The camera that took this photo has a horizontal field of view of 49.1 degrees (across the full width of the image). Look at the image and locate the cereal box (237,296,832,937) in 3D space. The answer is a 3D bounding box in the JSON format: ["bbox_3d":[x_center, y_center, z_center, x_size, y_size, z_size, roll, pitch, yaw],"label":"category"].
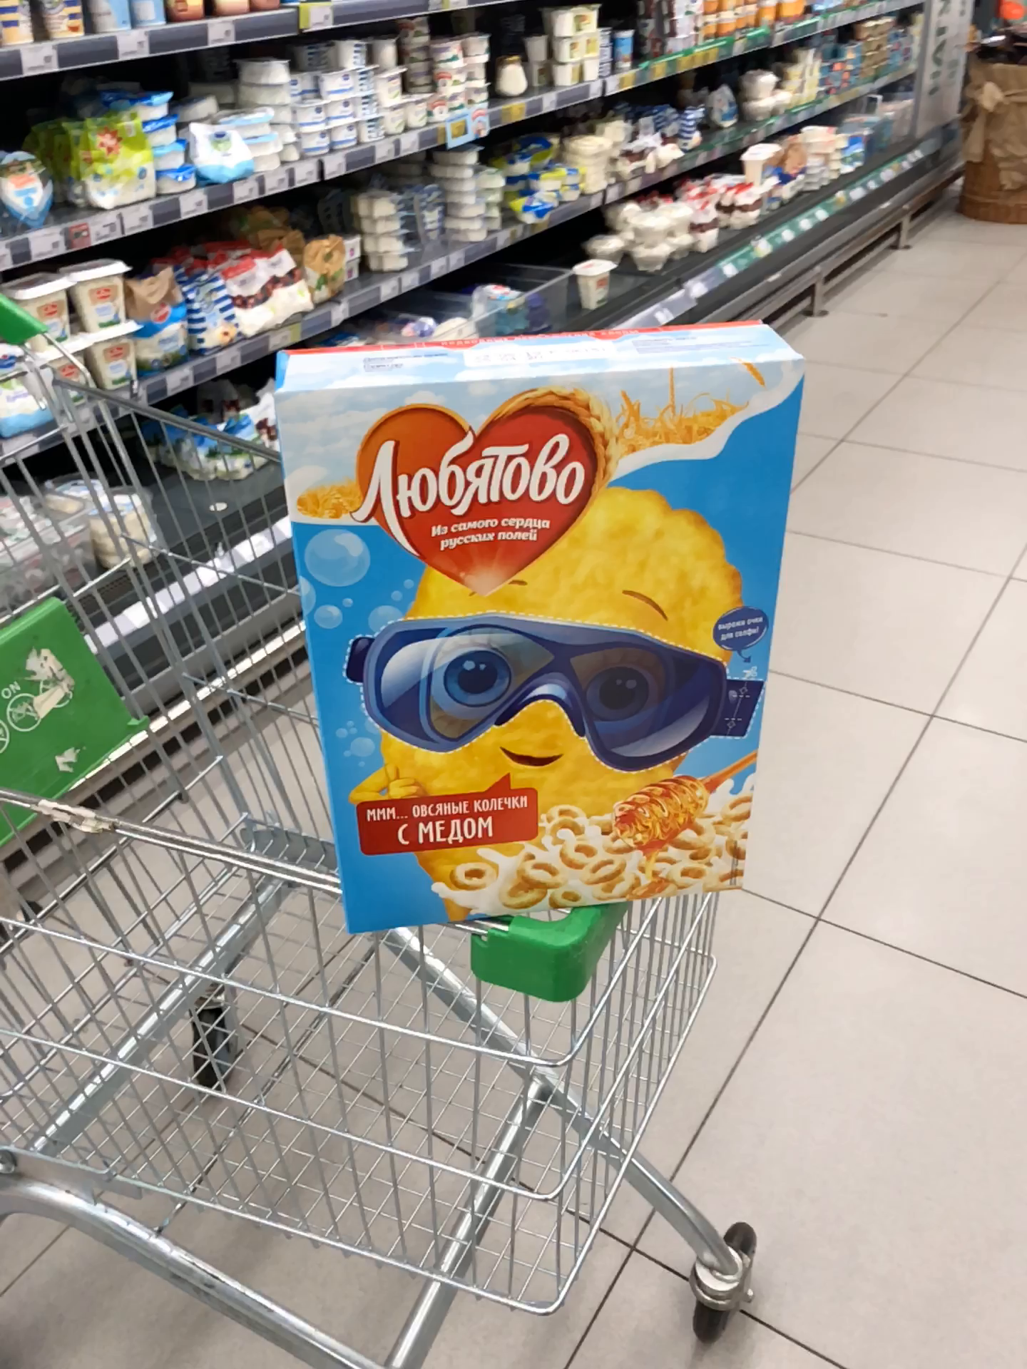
[{"bbox_3d":[0.009,-0.019,0.465,0.200,0.248,0.060,-6,33,-6],"label":"cereal box"}]
